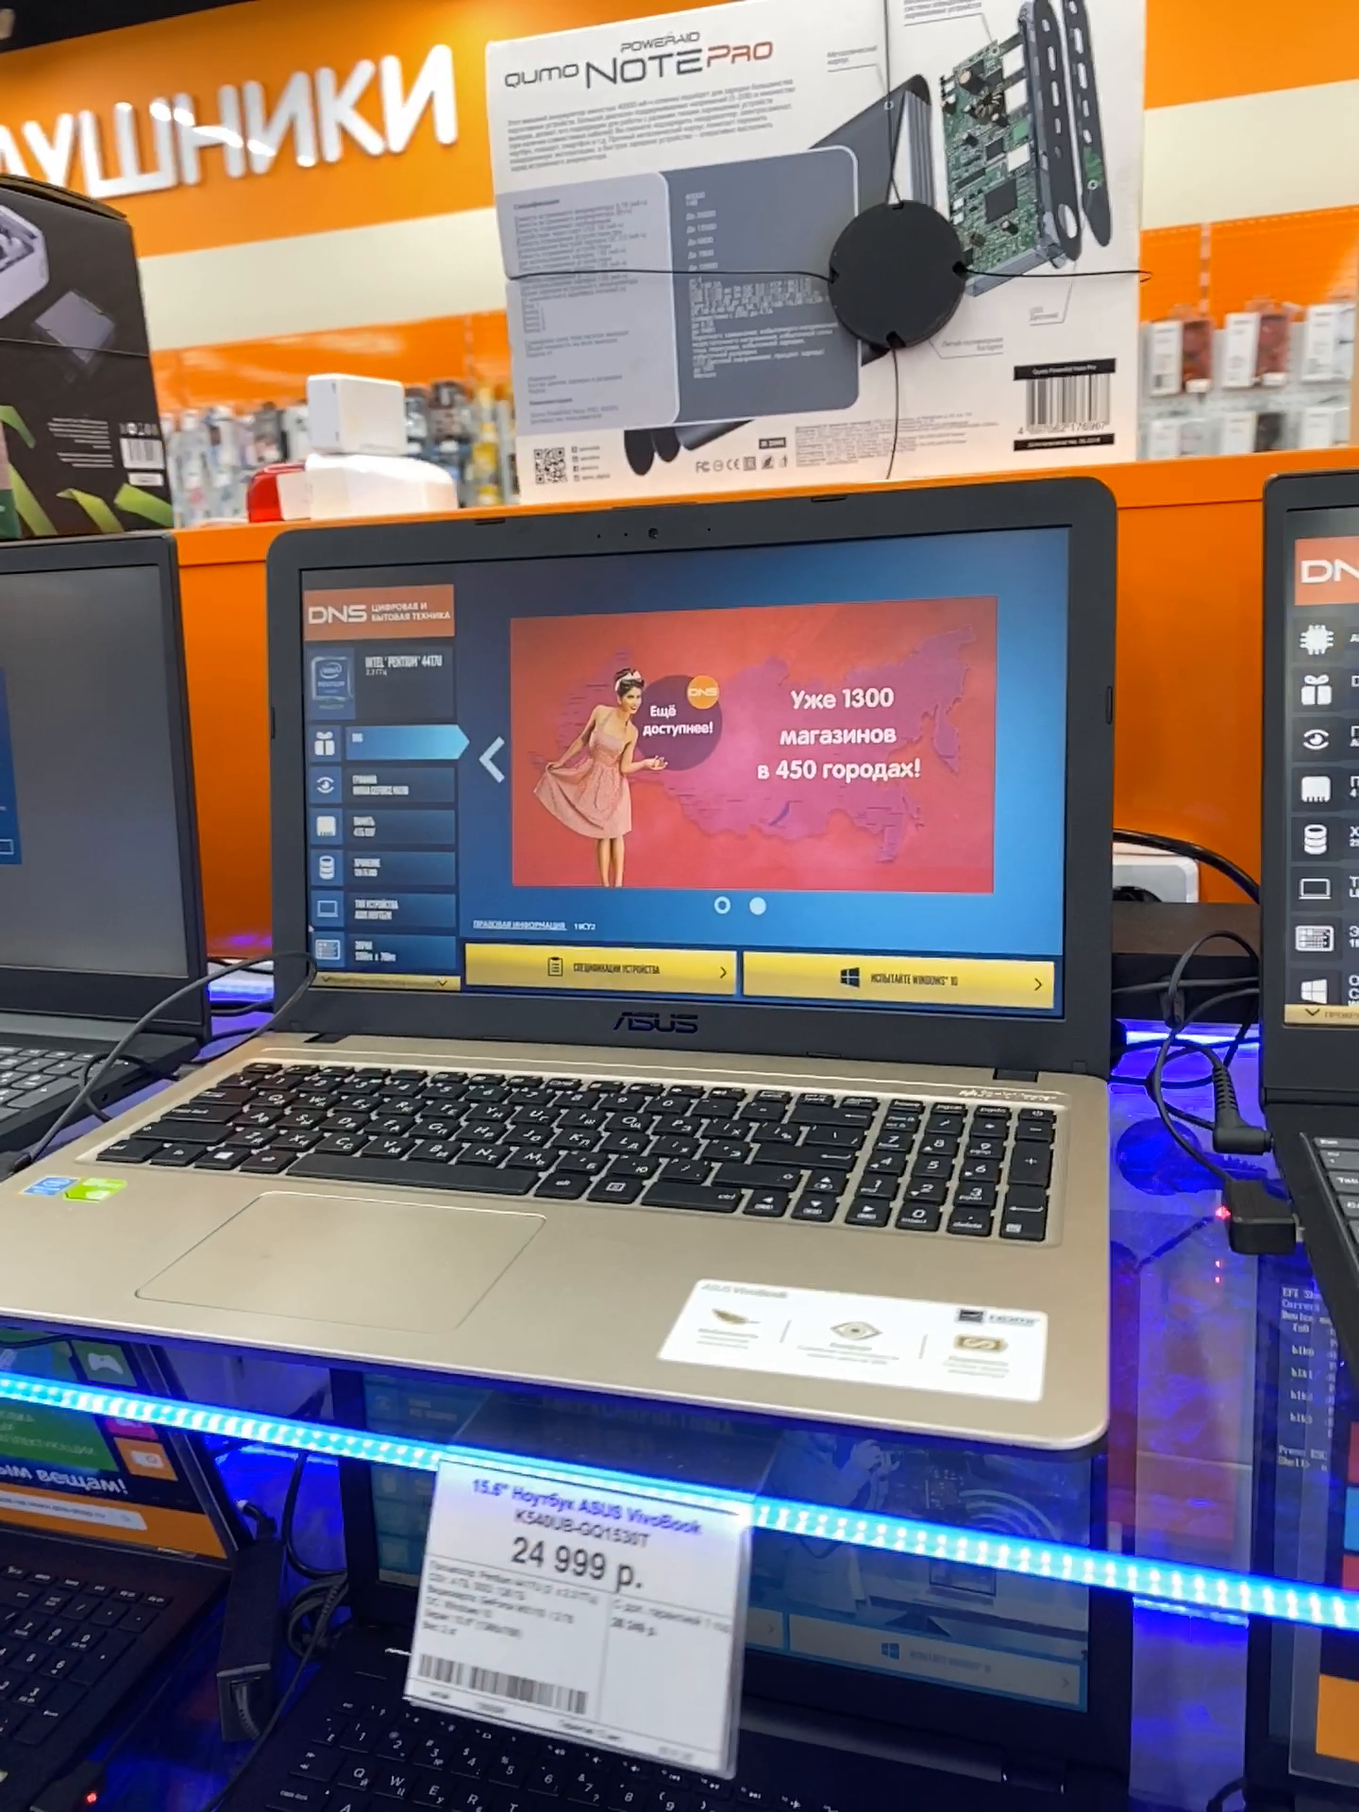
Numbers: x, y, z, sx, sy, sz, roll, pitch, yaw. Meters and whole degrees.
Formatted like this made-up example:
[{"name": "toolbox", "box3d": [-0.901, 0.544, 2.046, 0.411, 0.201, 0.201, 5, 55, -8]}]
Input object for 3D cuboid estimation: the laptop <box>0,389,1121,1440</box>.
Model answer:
[{"name": "laptop", "box3d": [-0.045, -0.025, 0.492, 0.376, 0.231, 0.294, 1, 12, 17]}]
